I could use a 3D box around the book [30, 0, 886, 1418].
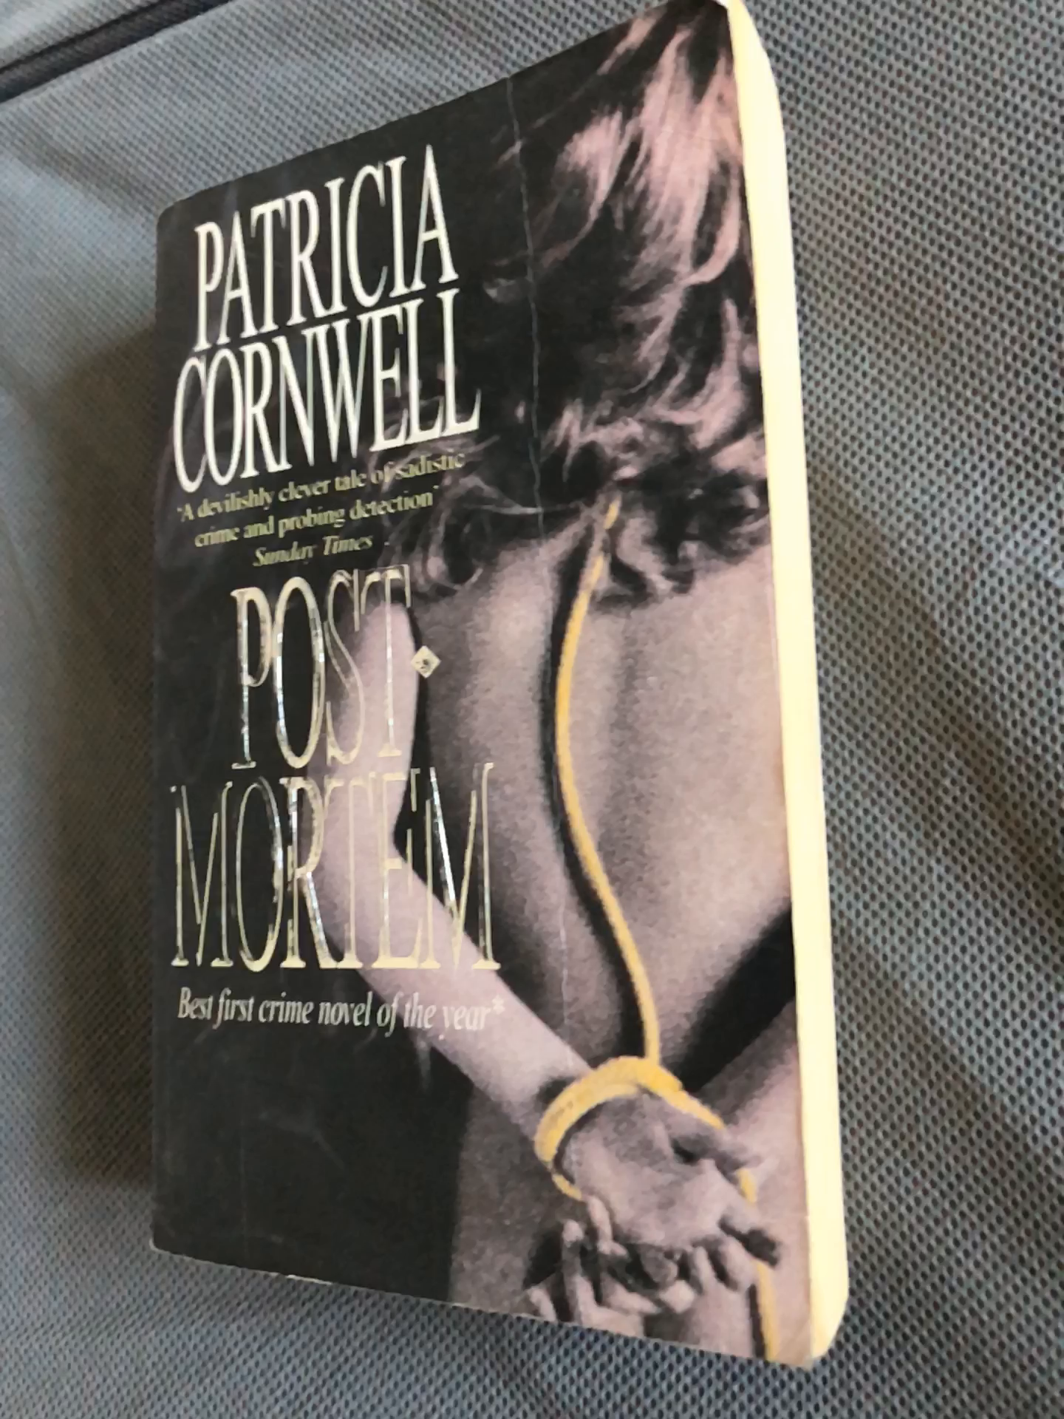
[{"bbox_3d":[-0.013,-0.009,0.181,0.110,0.050,0.180,-5,81,26],"label":"book"}]
